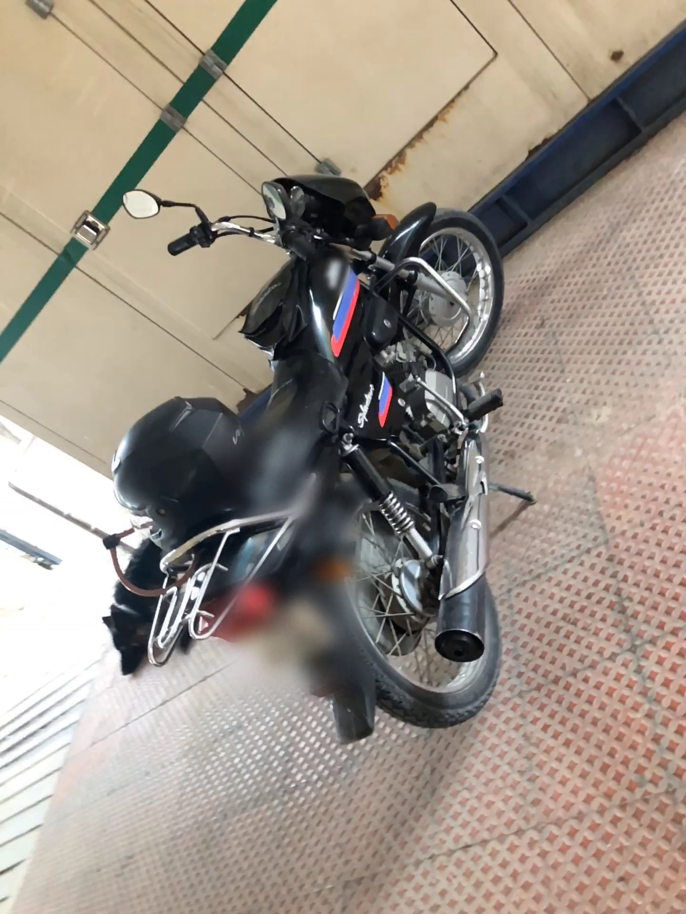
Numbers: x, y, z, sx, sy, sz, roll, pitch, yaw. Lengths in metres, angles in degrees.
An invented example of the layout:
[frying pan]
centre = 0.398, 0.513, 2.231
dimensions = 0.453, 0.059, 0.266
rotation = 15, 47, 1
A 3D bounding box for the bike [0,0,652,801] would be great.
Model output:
[bike]
centre = 0.148, -0.239, 2.047
dimensions = 0.735, 1.088, 1.866
rotation = -31, 32, 40
